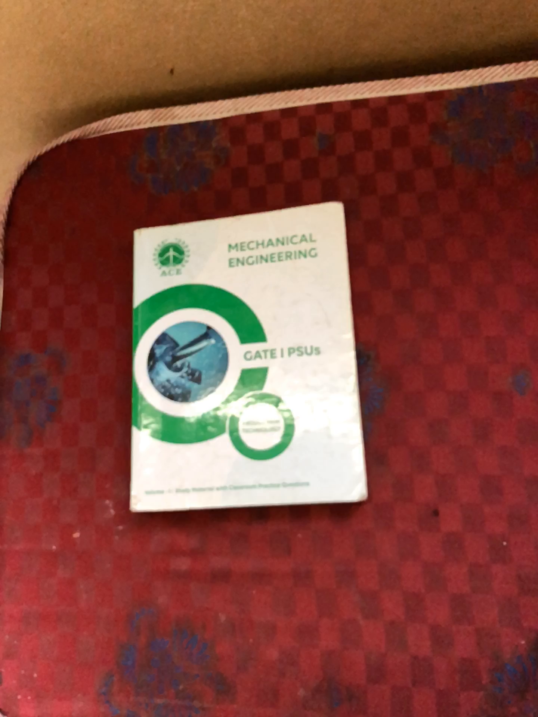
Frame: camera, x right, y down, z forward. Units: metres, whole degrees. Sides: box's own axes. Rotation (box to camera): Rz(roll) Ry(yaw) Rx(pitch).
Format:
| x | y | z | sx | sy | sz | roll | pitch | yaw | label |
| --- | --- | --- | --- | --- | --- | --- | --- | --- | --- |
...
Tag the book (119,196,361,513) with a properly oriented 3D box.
| x | y | z | sx | sy | sz | roll | pitch | yaw | label |
| --- | --- | --- | --- | --- | --- | --- | --- | --- | --- |
| -0.032 | -0.005 | 0.564 | 0.210 | 0.030 | 0.280 | -5 | 75 | 9 | book |
